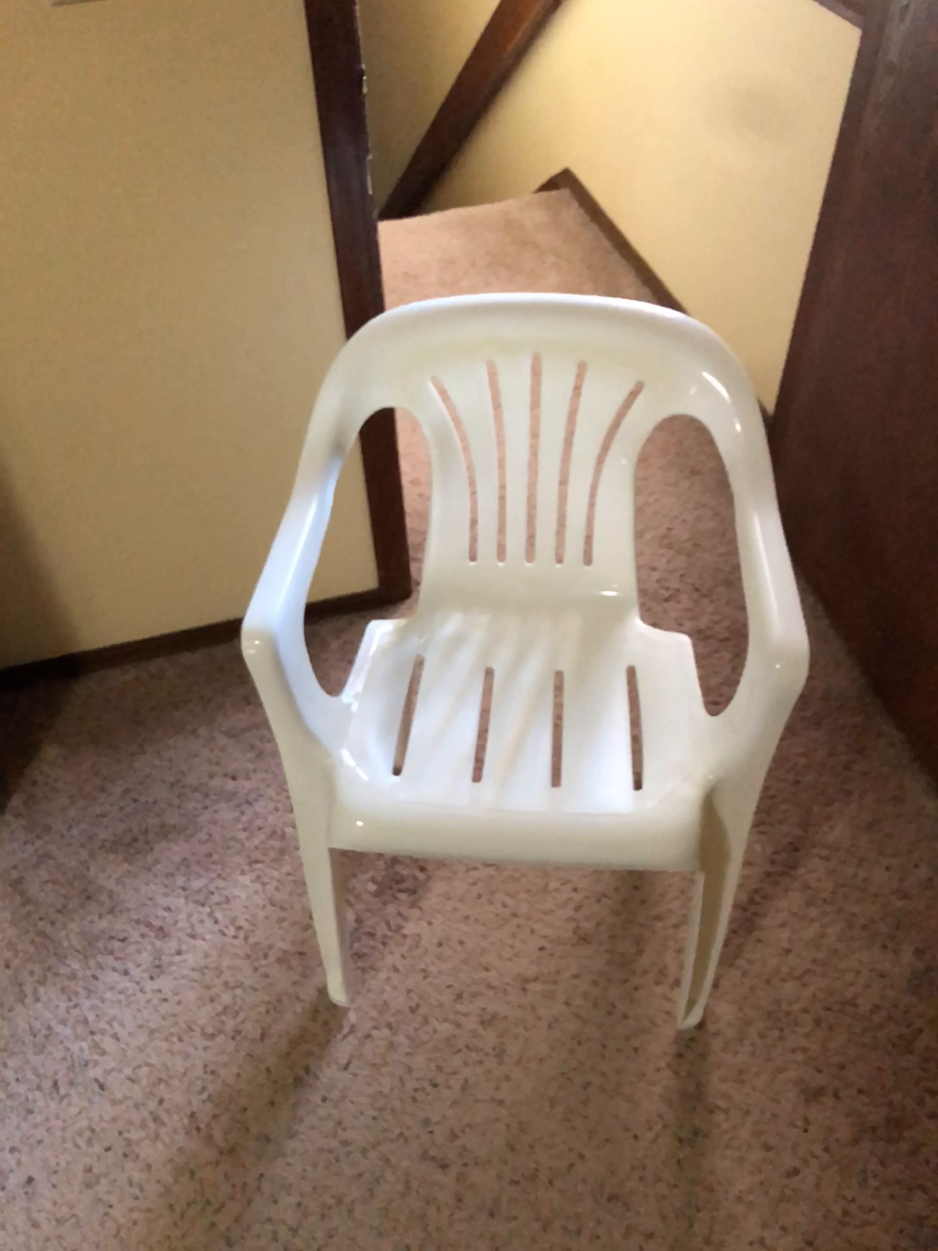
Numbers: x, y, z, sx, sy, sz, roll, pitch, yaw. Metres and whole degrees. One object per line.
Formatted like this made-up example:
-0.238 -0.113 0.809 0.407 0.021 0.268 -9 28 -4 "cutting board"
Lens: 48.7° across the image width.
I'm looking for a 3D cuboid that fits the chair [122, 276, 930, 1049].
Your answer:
0.059 0.081 1.186 0.580 0.769 0.471 2 47 4 "chair"
